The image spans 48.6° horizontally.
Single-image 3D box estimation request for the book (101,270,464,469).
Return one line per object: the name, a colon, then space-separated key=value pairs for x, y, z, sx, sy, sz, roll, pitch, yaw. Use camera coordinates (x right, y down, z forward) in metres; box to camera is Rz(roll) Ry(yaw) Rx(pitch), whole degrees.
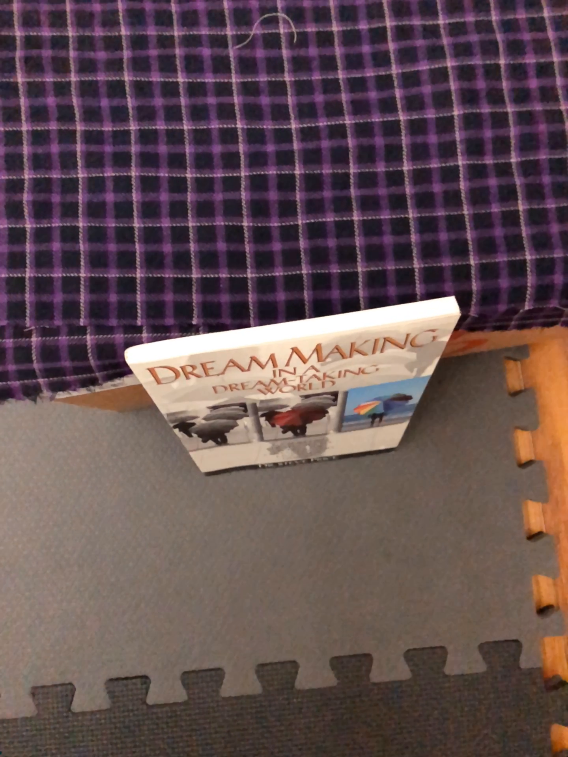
book: x=0.004 y=0.011 z=0.365 sx=0.150 sy=0.220 sz=0.020 roll=-5 pitch=69 yaw=1
